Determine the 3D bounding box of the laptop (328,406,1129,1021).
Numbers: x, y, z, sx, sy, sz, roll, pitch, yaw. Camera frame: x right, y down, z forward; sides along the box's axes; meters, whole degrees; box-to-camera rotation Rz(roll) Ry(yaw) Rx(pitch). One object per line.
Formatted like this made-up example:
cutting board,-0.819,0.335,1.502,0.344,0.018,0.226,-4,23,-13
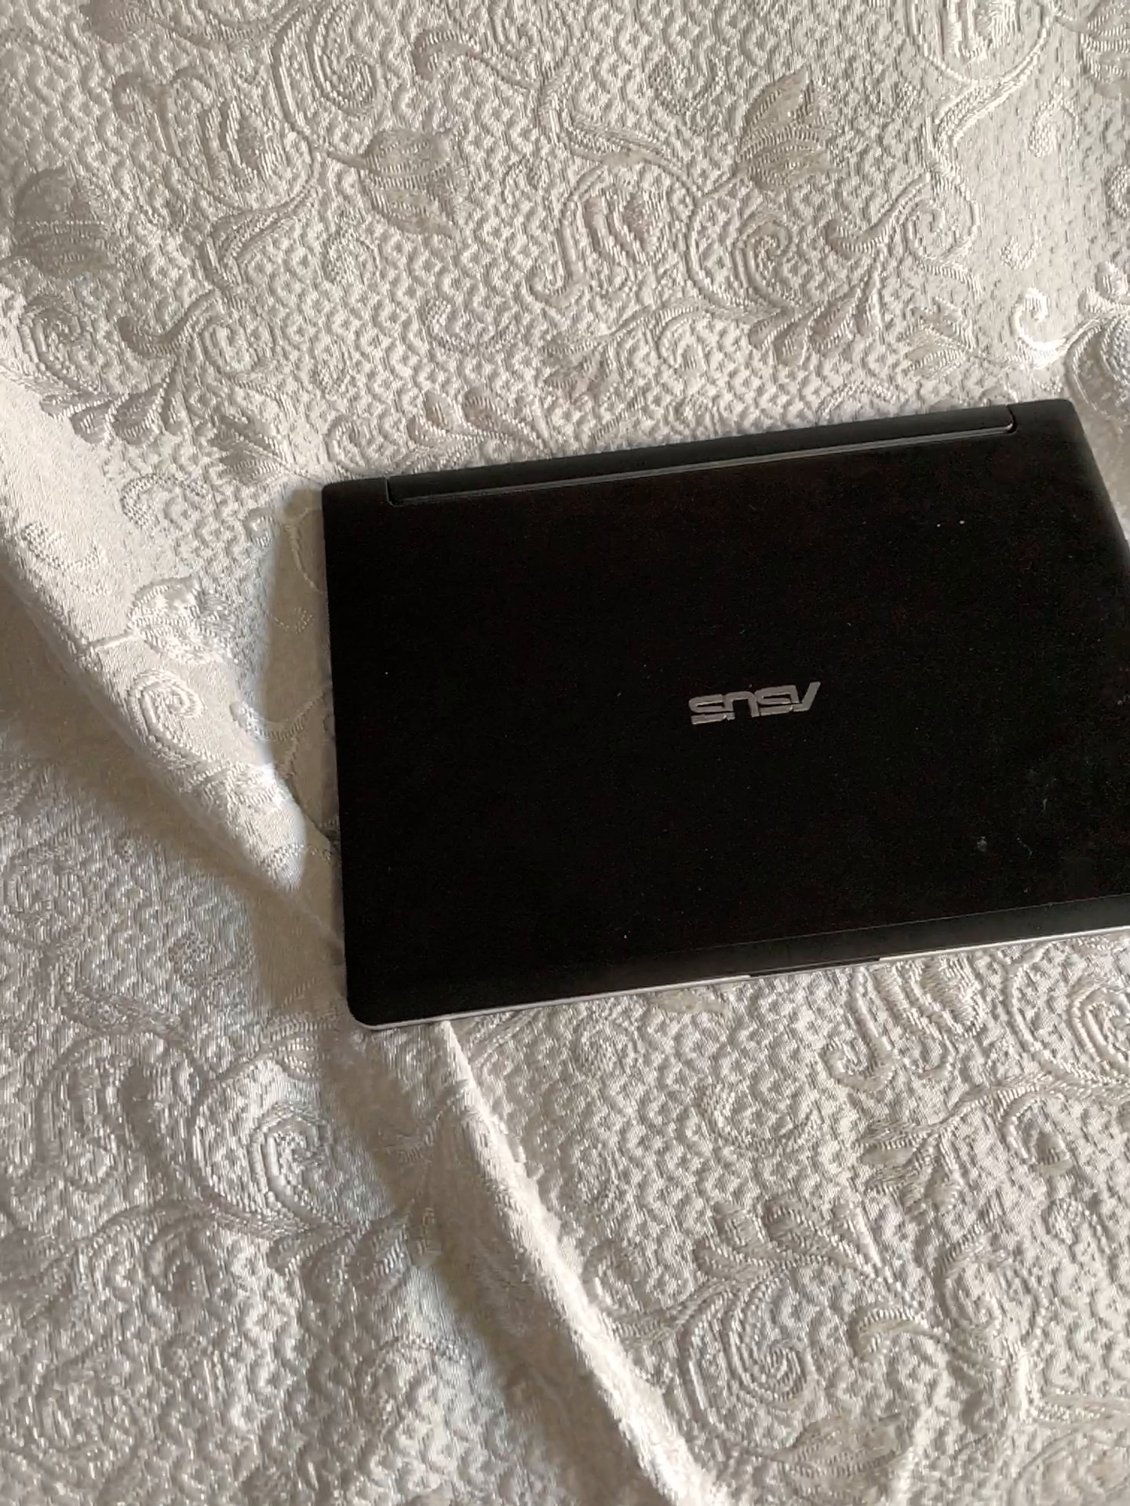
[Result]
laptop,0.077,-0.031,0.468,0.333,0.001,0.232,-7,67,-3
